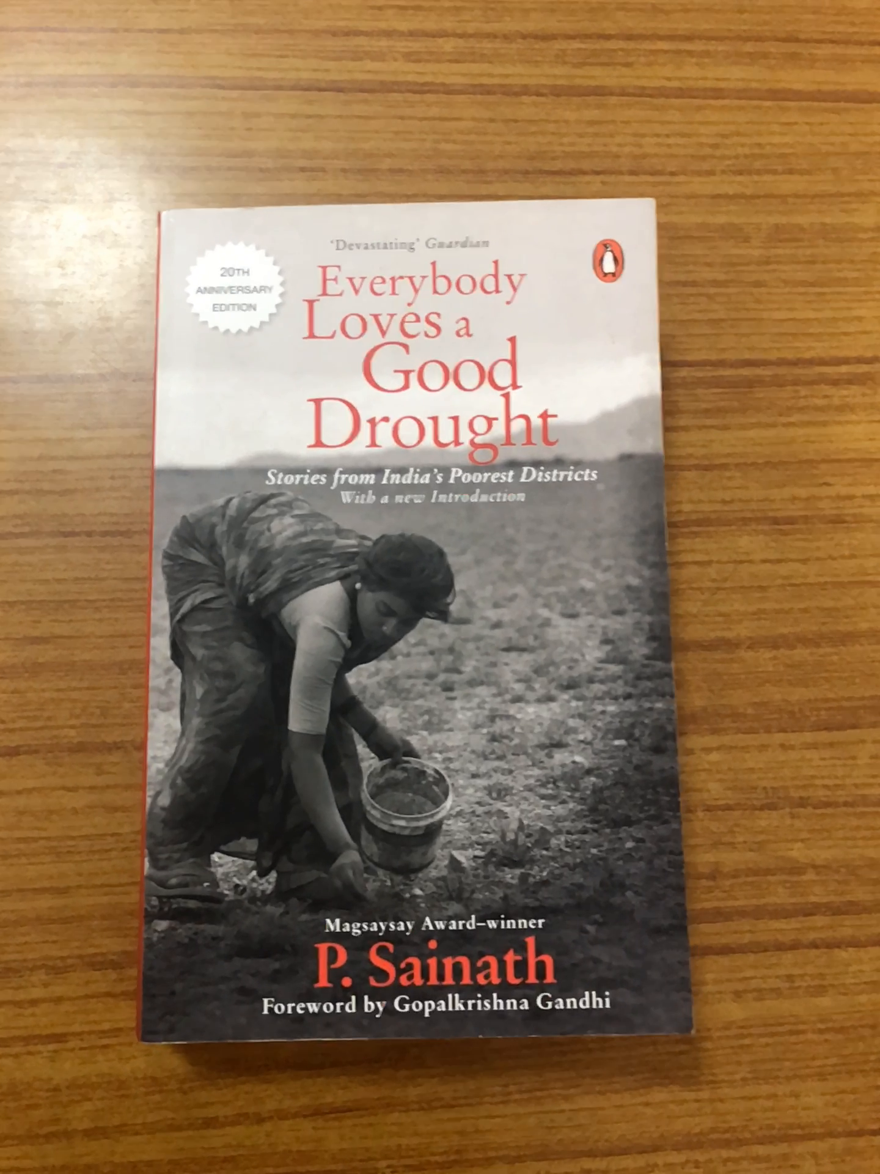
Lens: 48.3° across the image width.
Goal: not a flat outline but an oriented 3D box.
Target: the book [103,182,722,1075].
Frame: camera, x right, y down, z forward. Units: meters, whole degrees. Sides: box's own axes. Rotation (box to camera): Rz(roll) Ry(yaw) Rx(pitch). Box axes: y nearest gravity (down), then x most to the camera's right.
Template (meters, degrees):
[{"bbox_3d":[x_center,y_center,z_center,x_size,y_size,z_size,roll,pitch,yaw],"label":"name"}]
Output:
[{"bbox_3d":[-0.007,0.006,0.255,0.140,0.040,0.210,0,83,-4],"label":"book"}]
